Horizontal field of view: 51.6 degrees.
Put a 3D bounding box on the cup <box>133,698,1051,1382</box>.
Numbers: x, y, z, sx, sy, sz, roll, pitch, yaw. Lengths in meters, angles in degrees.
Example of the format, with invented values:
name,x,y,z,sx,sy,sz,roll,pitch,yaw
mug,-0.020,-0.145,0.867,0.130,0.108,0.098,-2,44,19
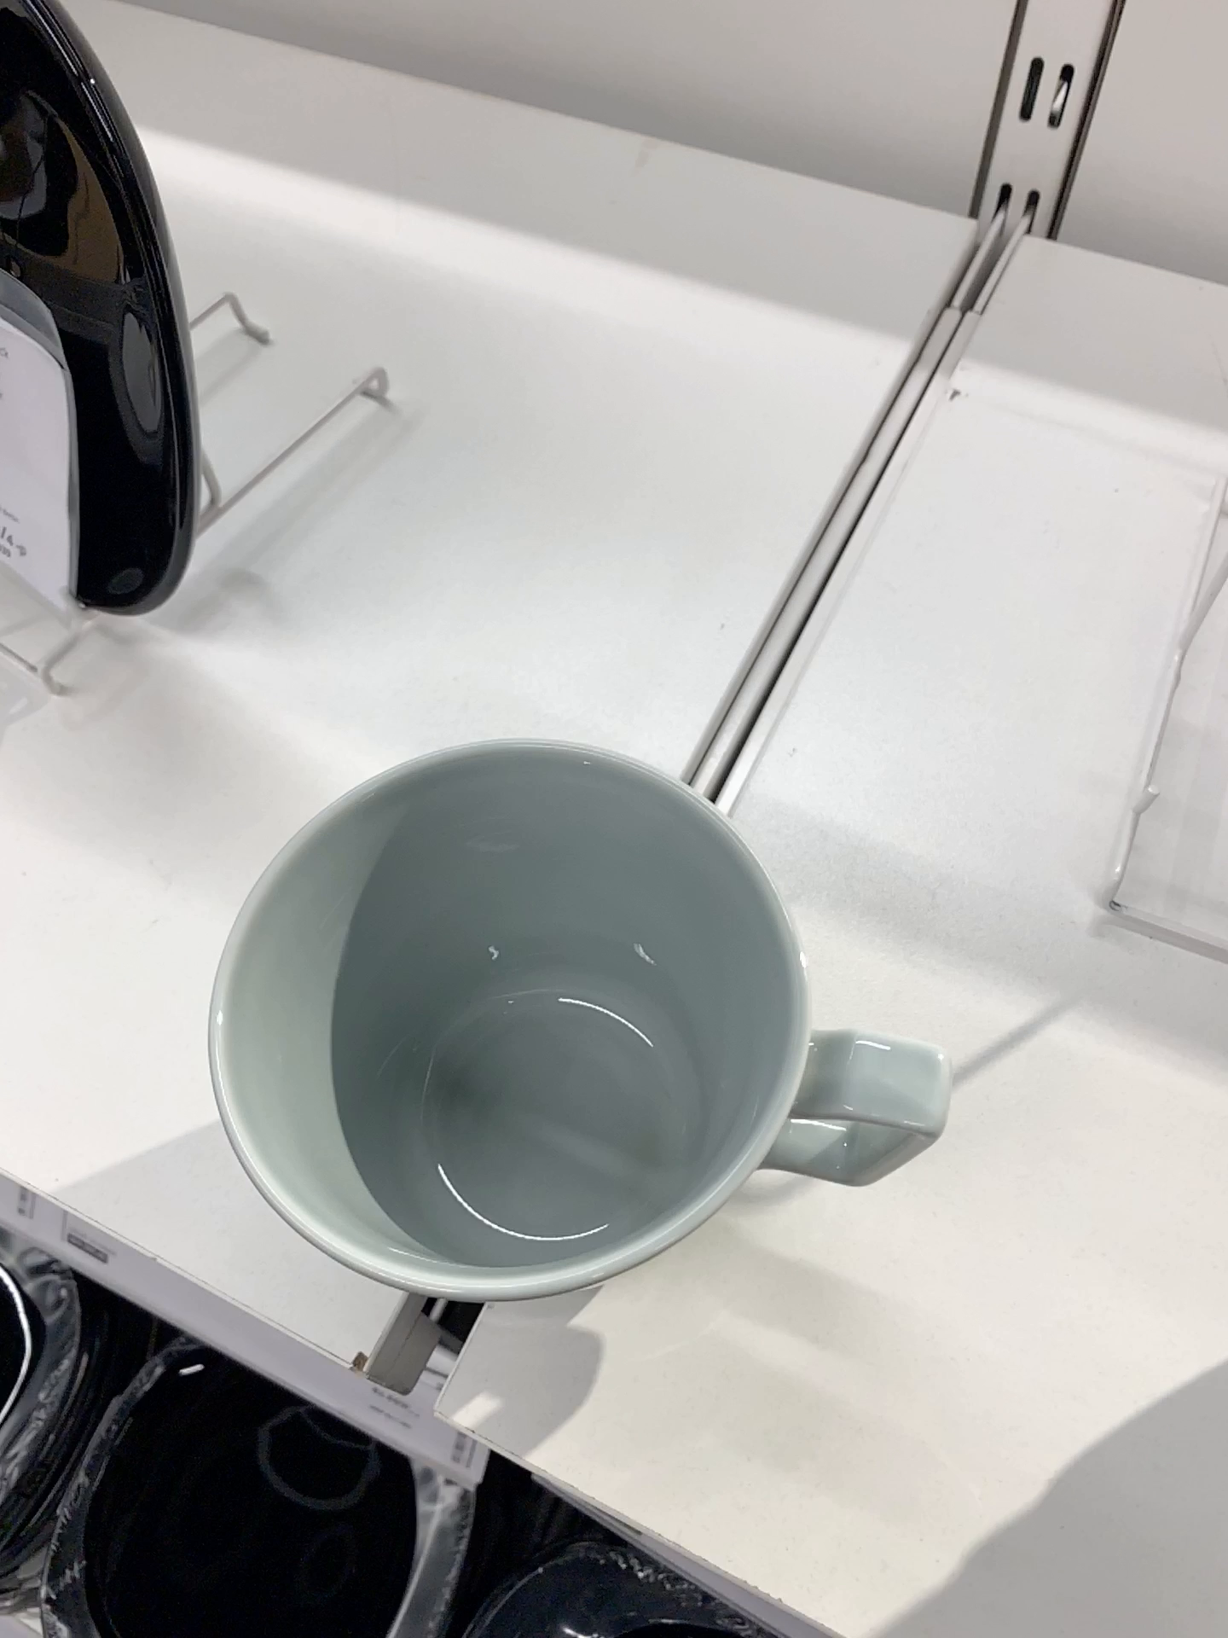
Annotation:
name,x,y,z,sx,sy,sz,roll,pitch,yaw
cup,-0.004,0.042,0.235,0.130,0.070,0.100,-3,59,0
